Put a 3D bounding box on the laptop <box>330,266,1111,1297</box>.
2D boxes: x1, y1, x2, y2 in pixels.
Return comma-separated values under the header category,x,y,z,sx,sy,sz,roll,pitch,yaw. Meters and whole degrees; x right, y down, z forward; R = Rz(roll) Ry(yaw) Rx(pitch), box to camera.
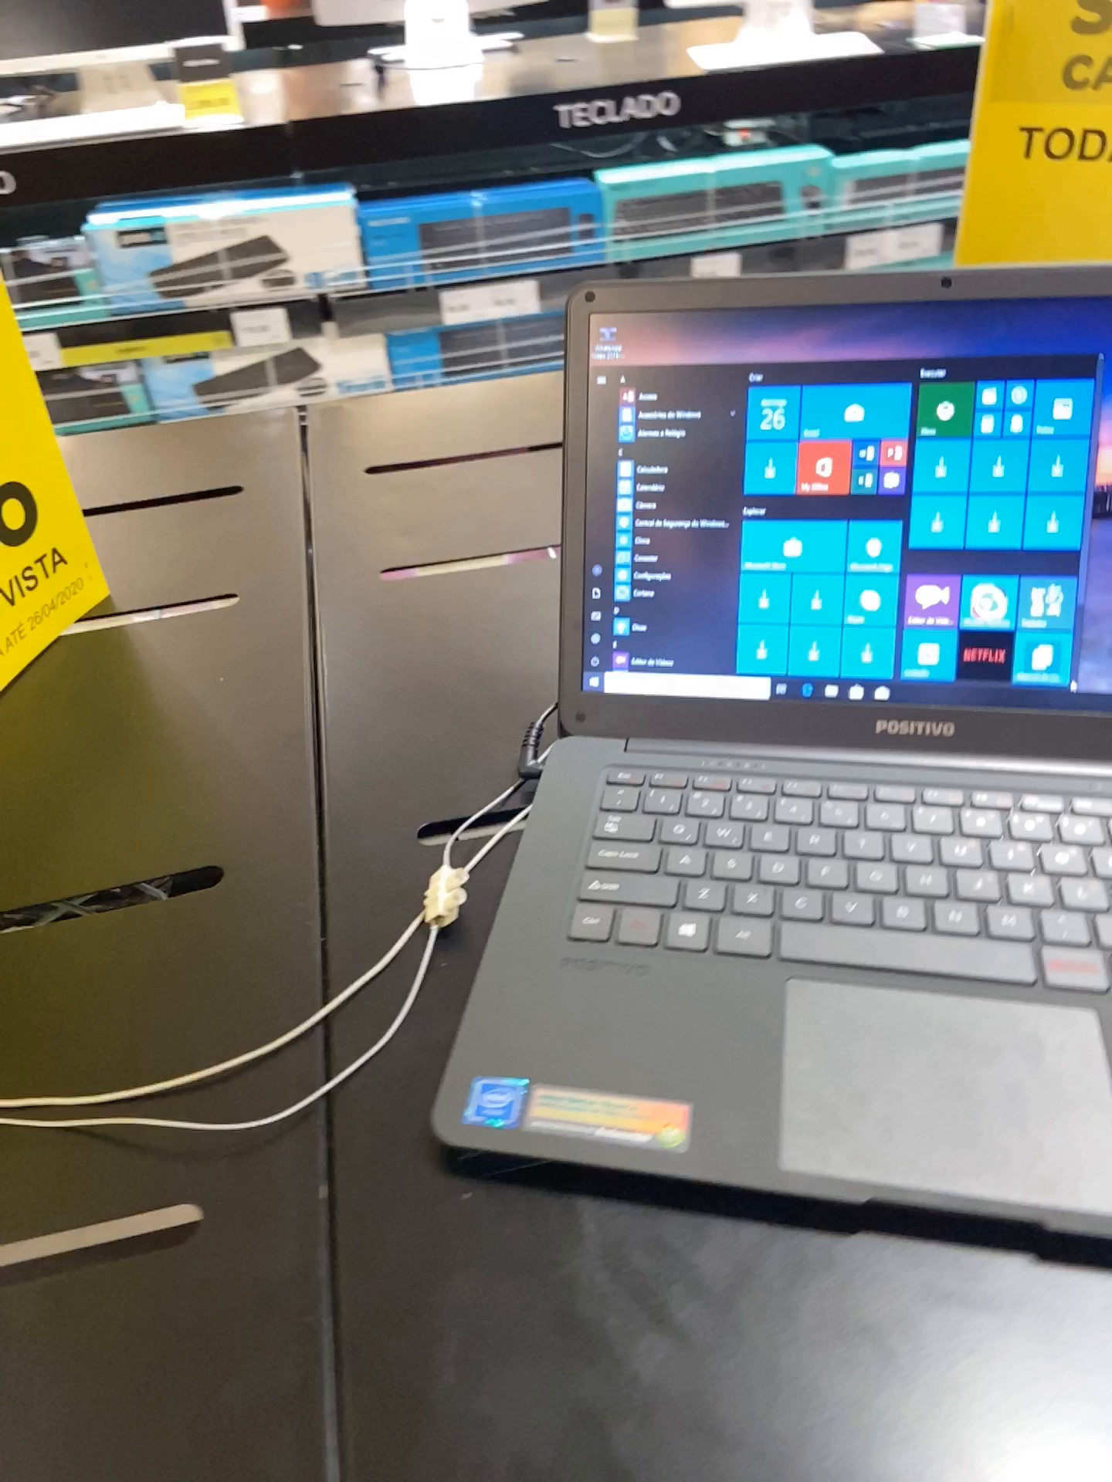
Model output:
category,x,y,z,sx,sy,sz,roll,pitch,yaw
laptop,0.131,-0.025,0.374,0.296,0.159,0.293,3,38,12
